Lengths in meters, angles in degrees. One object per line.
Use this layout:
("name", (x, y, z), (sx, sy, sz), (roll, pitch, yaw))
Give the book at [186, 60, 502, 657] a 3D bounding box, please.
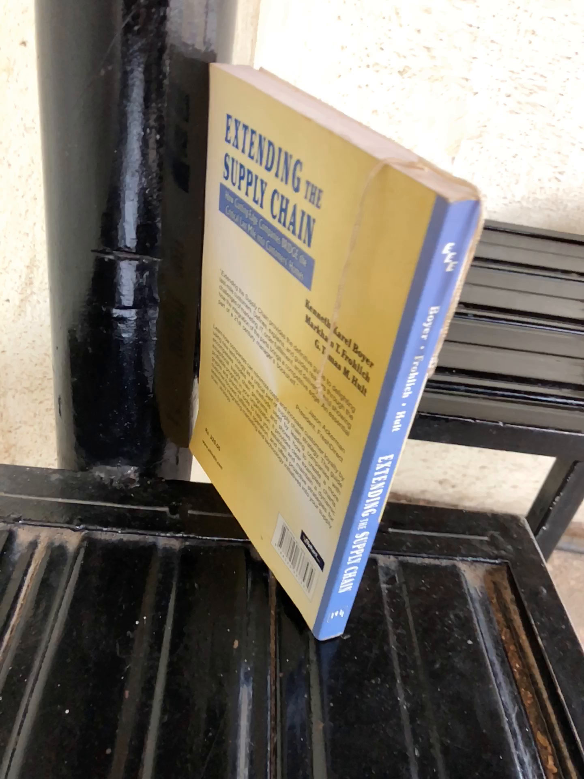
("book", (-0.003, -0.009, 0.298), (0.030, 0.229, 0.150), (-15, 42, -28))
